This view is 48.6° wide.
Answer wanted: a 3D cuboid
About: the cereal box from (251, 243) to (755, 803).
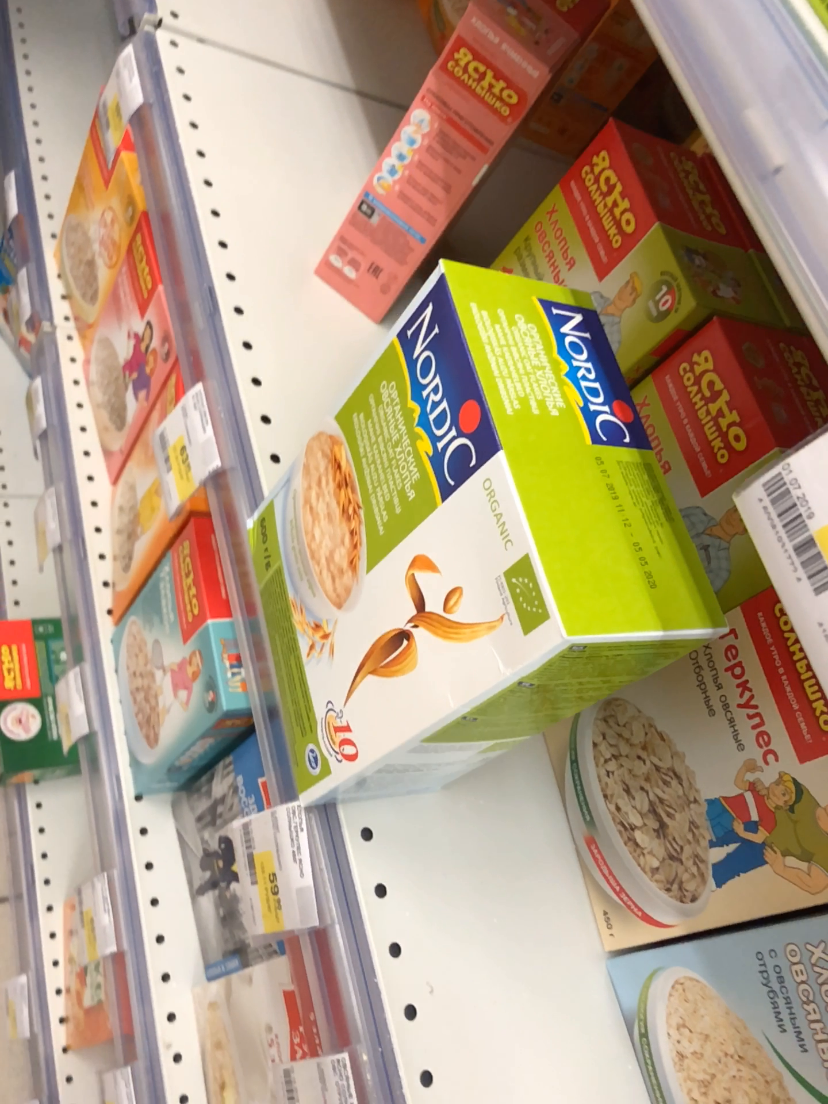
[{"bbox_3d":[0.016,0.001,0.387,0.080,0.189,0.150,1,62,-34],"label":"cereal box"}]
